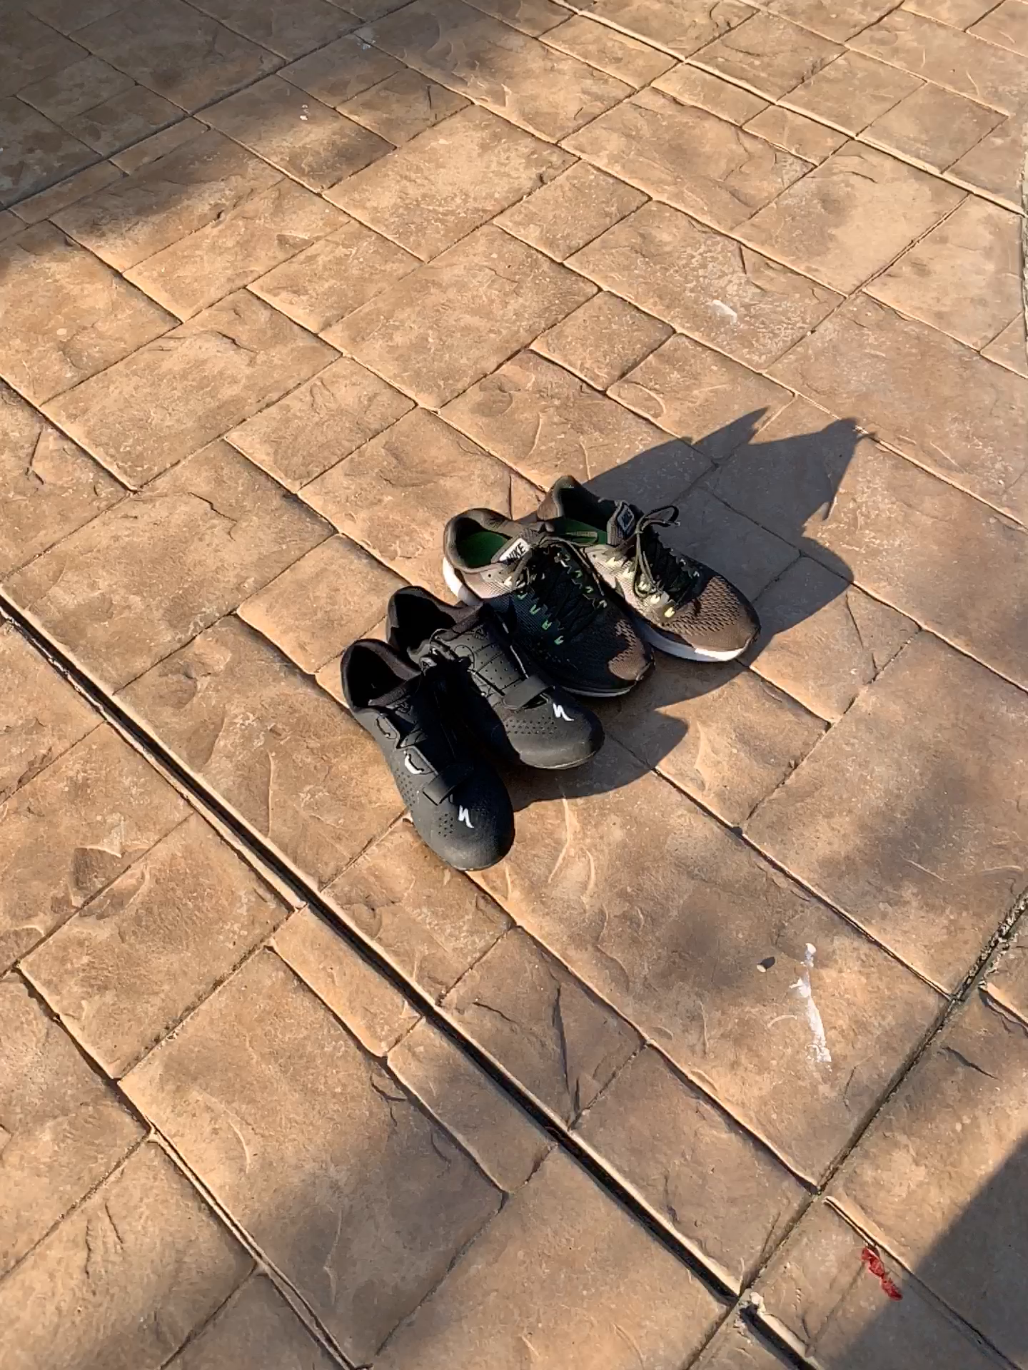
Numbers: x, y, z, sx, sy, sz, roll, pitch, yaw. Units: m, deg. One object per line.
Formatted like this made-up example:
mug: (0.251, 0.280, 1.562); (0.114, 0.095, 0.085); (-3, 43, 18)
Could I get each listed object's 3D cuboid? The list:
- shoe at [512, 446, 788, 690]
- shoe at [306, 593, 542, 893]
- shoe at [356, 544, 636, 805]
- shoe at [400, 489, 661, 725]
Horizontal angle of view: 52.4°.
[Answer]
shoe: (0.139, -0.131, 1.120); (0.271, 0.080, 0.120); (38, 66, 23)
shoe: (-0.087, 0.048, 0.980); (0.100, 0.070, 0.271); (-27, 60, -15)
shoe: (-0.020, -0.015, 0.987); (0.261, 0.070, 0.100); (38, 66, 23)
shoe: (0.014, -0.089, 1.119); (0.261, 0.070, 0.120); (38, 66, 23)
